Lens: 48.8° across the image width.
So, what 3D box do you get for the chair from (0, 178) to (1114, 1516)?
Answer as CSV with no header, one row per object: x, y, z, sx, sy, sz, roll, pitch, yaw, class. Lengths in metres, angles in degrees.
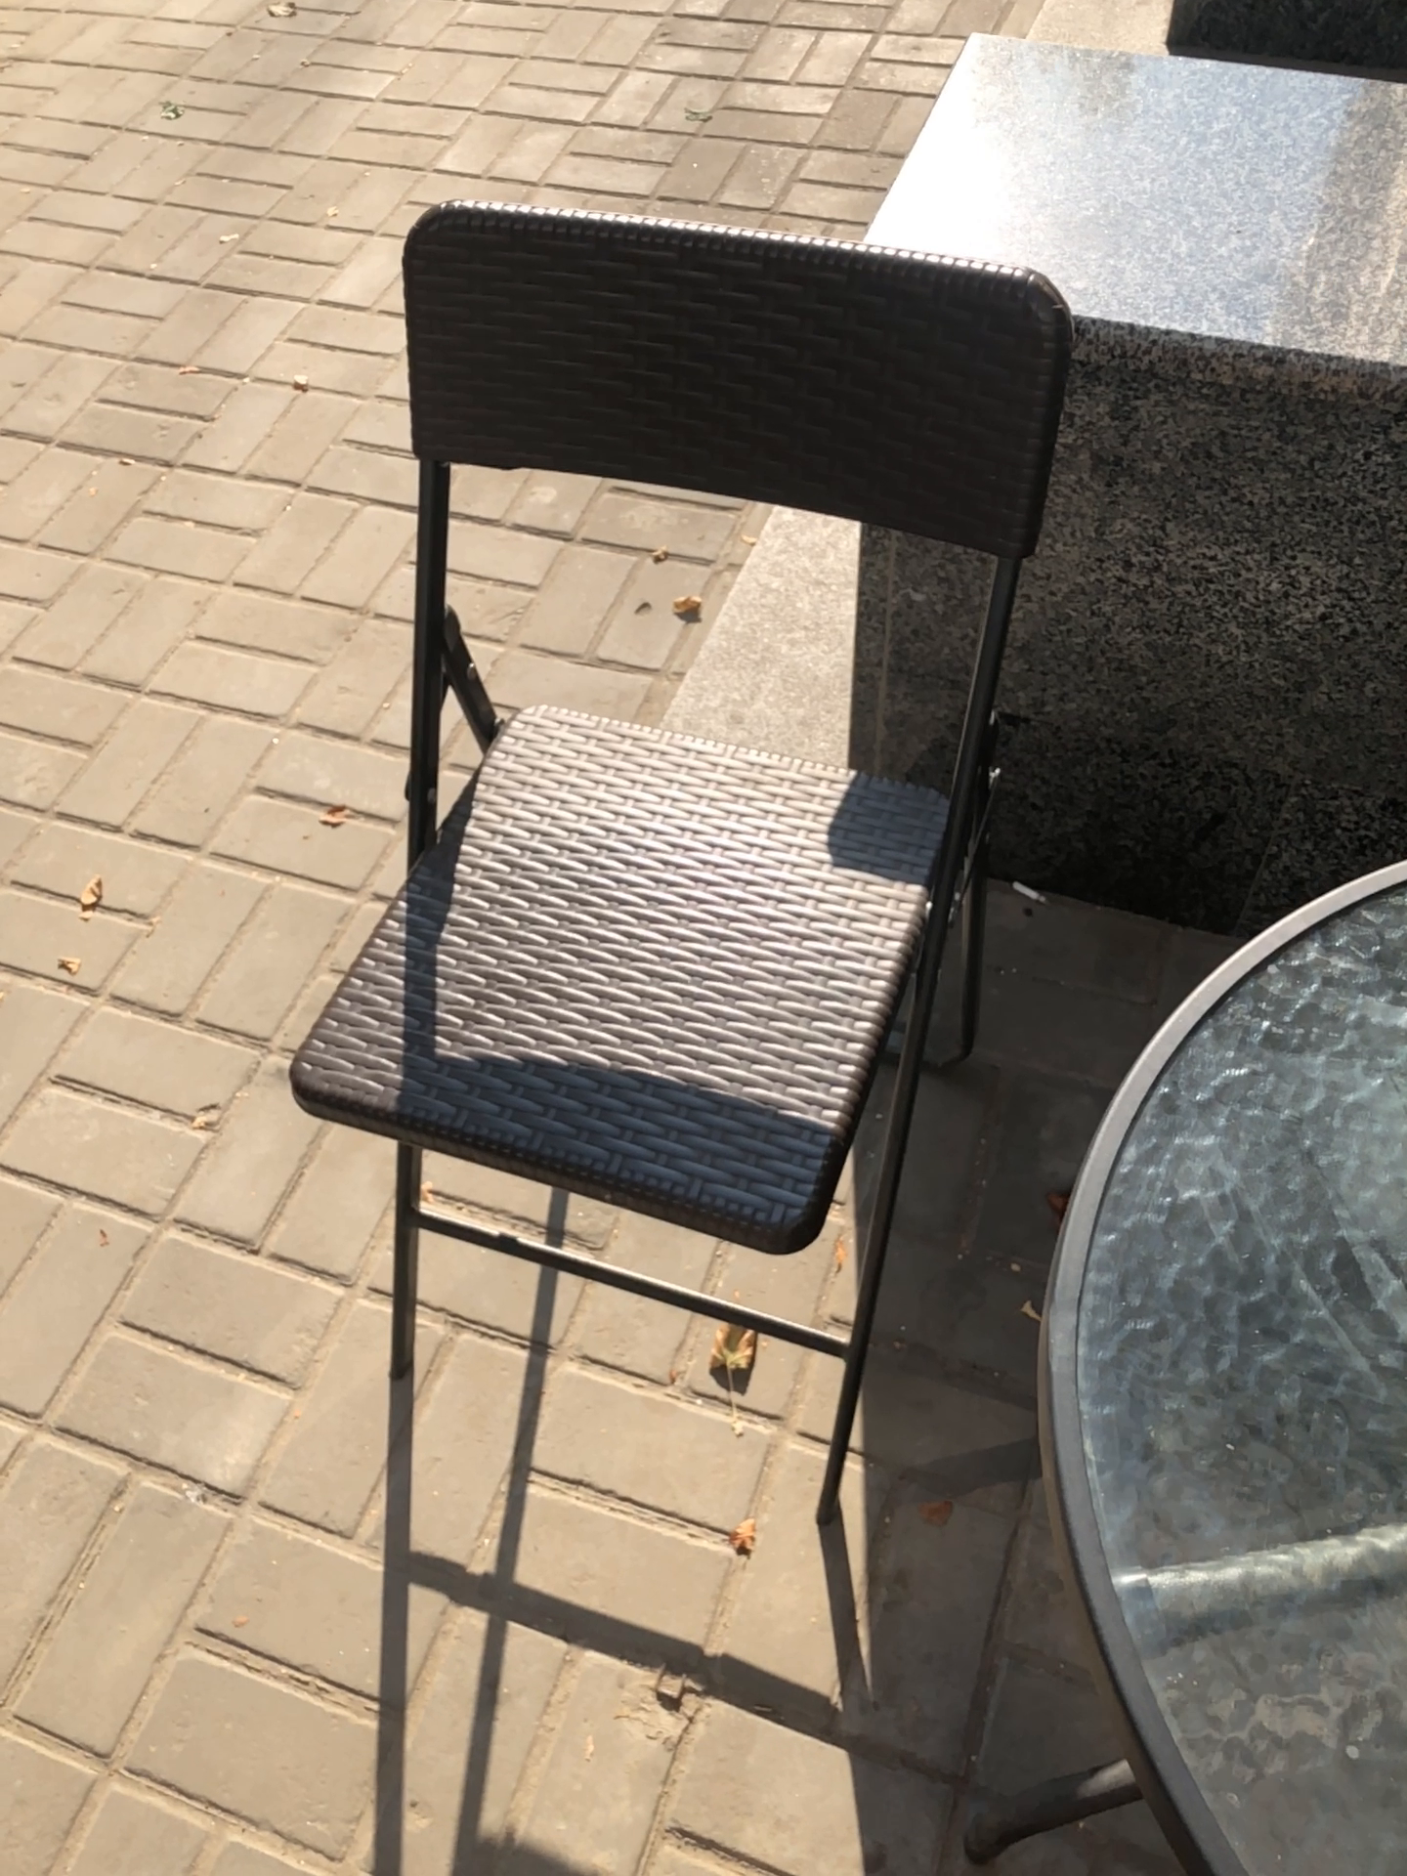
-0.036,-0.007,1.099,0.430,0.778,0.481,14,56,13,chair
